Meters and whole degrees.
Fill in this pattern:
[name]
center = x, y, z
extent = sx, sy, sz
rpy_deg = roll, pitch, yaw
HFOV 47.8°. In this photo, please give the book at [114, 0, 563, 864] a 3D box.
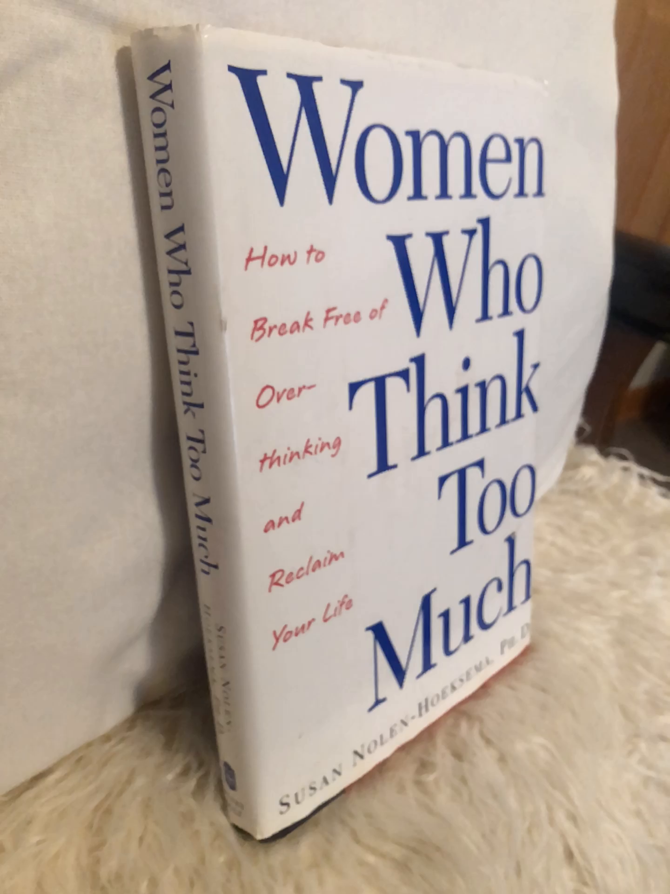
[book]
center = 0.021, -0.010, 0.273
extent = 0.040, 0.241, 0.167
rpy_deg = 11, 20, 43
